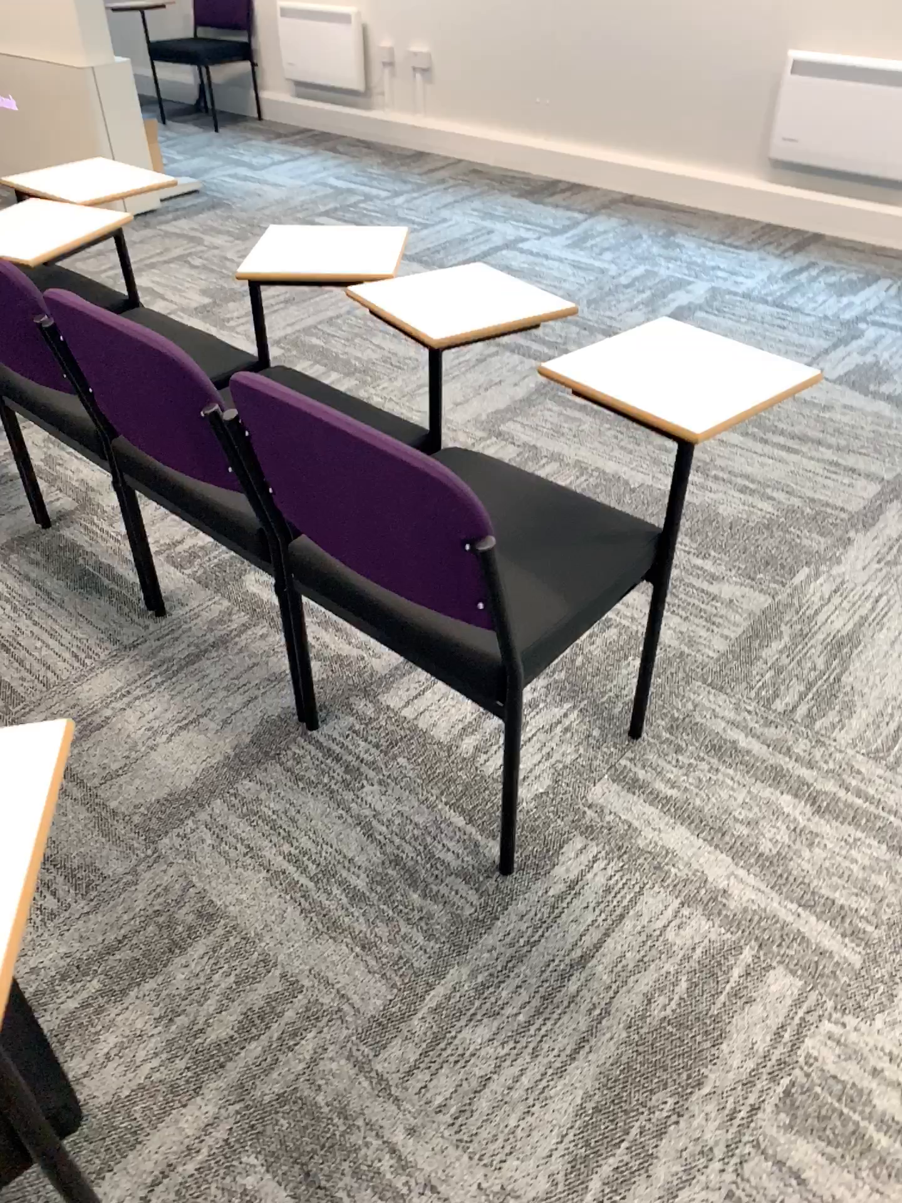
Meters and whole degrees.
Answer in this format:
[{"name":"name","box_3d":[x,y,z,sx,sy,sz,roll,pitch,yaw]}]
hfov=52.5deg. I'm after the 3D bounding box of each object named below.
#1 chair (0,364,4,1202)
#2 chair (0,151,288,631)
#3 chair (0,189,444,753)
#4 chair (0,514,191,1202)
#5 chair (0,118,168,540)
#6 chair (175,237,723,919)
[{"name":"chair","box_3d":[-1.024,0.233,1.116,0.503,0.781,0.518,-32,48,-32]},{"name":"chair","box_3d":[-0.761,-0.467,1.997,0.518,0.791,0.483,28,47,32]},{"name":"chair","box_3d":[-0.377,-0.255,1.717,0.518,0.791,0.493,28,47,32]},{"name":"chair","box_3d":[-0.662,0.460,0.815,0.503,0.801,0.518,-30,47,-31]},{"name":"chair","box_3d":[-1.149,-0.685,2.273,0.518,0.791,0.503,28,47,32]},{"name":"chair","box_3d":[0.008,-0.050,1.446,0.518,0.801,0.503,28,47,32]}]
